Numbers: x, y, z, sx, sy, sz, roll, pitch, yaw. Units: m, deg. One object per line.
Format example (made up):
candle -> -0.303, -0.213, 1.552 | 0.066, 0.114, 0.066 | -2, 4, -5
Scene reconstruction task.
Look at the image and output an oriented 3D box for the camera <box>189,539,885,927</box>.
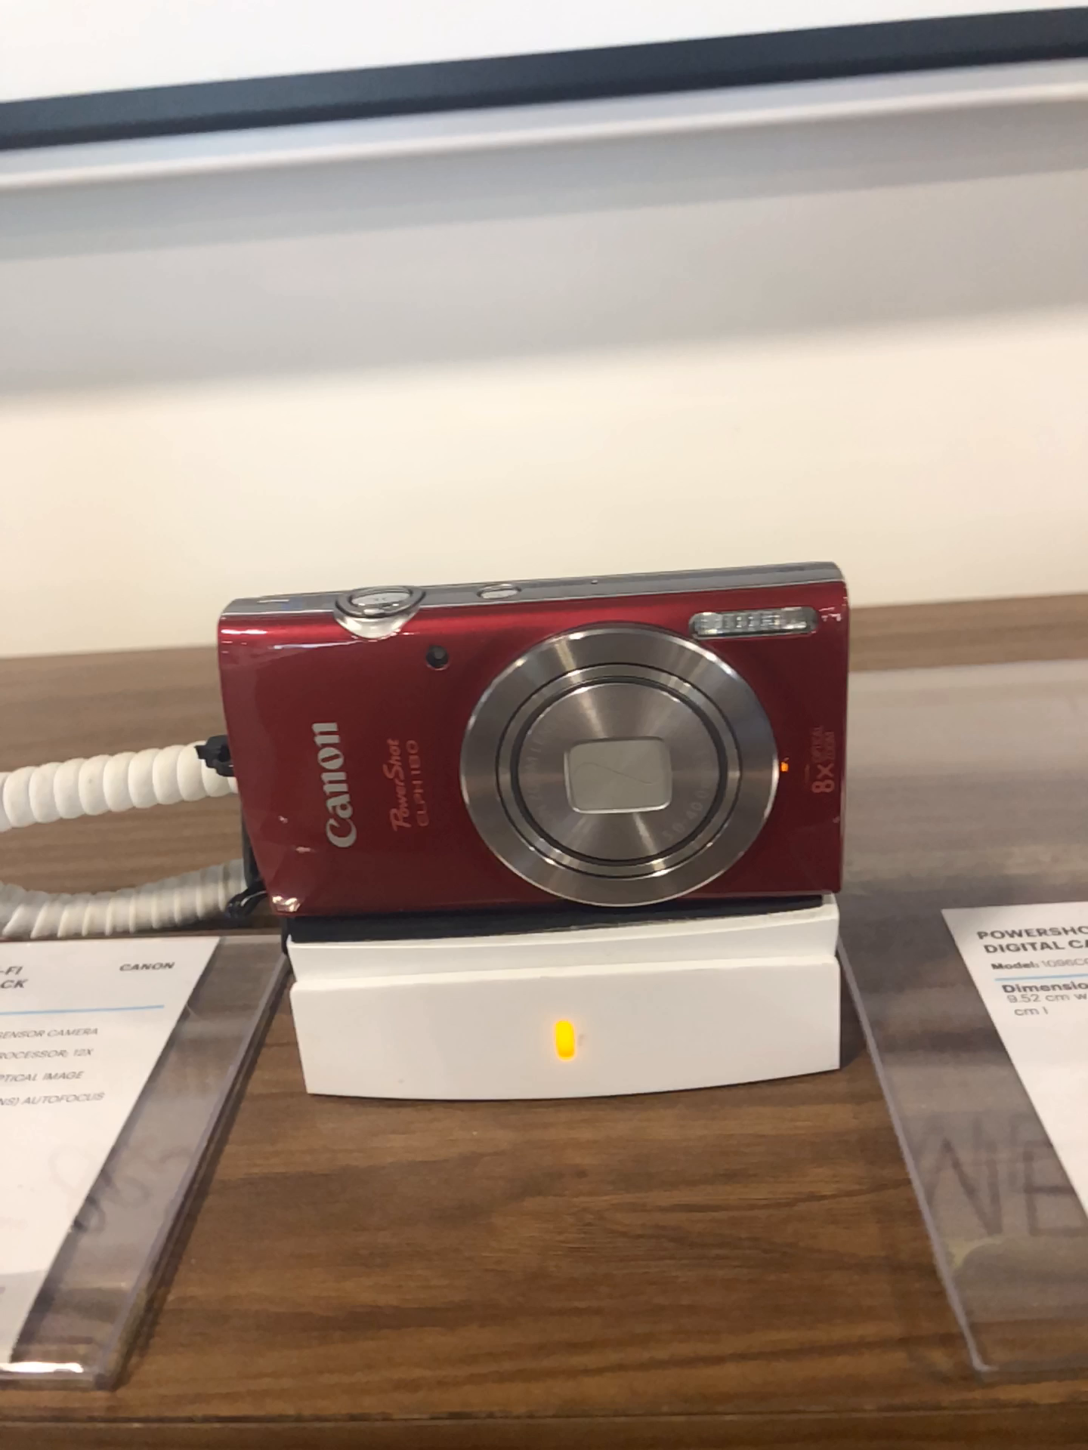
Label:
camera -> 0.001, 0.002, 0.191 | 0.097, 0.051, 0.023 | -3, 28, 5
